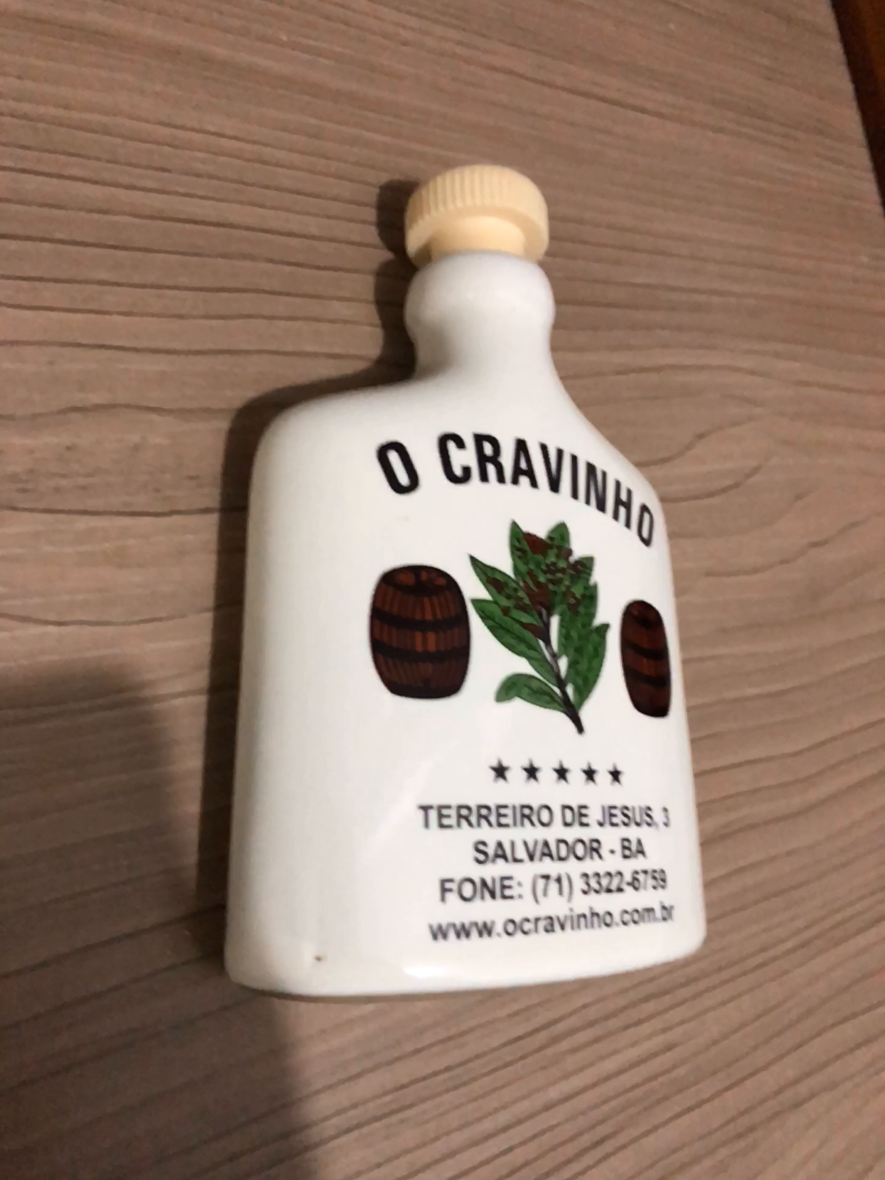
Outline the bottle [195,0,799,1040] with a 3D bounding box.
[{"bbox_3d":[0.013,-0.011,0.188,0.100,0.040,0.160,8,76,-33],"label":"bottle"}]
